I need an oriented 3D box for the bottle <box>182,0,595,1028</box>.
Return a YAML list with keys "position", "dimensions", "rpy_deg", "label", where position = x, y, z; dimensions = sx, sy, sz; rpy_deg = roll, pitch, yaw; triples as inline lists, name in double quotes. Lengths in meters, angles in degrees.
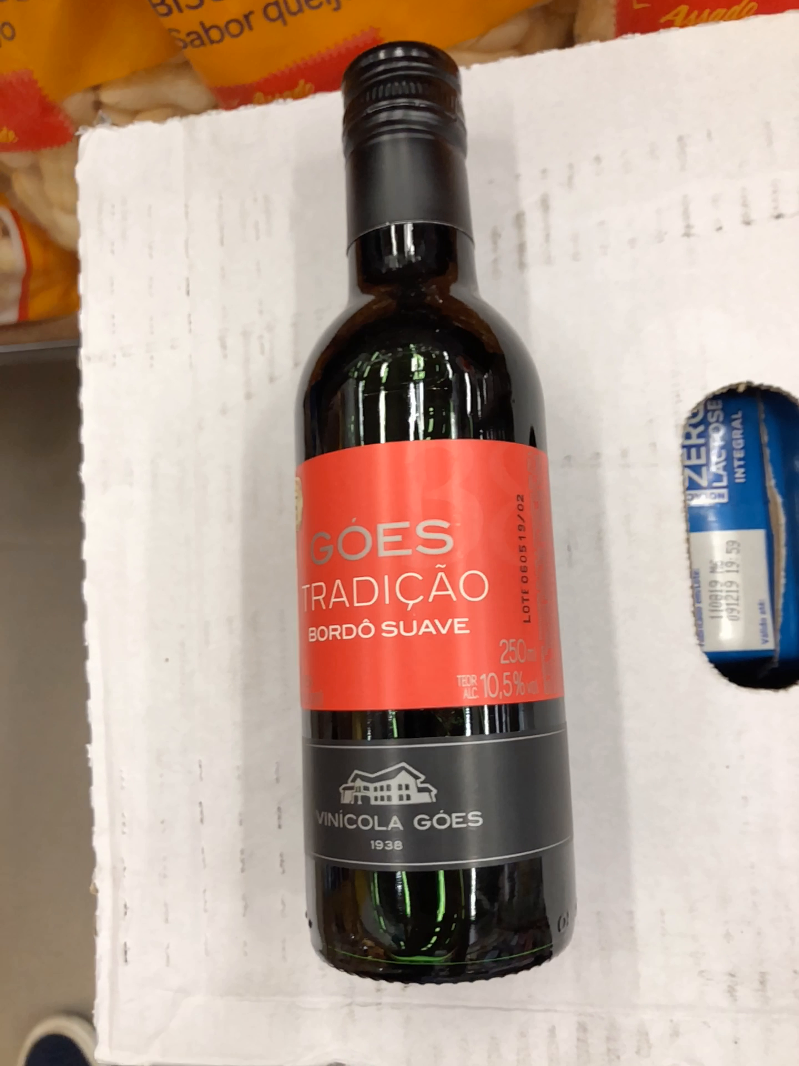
- position: [-0.002, -0.021, 0.185]
  dimensions: [0.060, 0.050, 0.210]
  rpy_deg: [-6, 81, 14]
  label: "bottle"
